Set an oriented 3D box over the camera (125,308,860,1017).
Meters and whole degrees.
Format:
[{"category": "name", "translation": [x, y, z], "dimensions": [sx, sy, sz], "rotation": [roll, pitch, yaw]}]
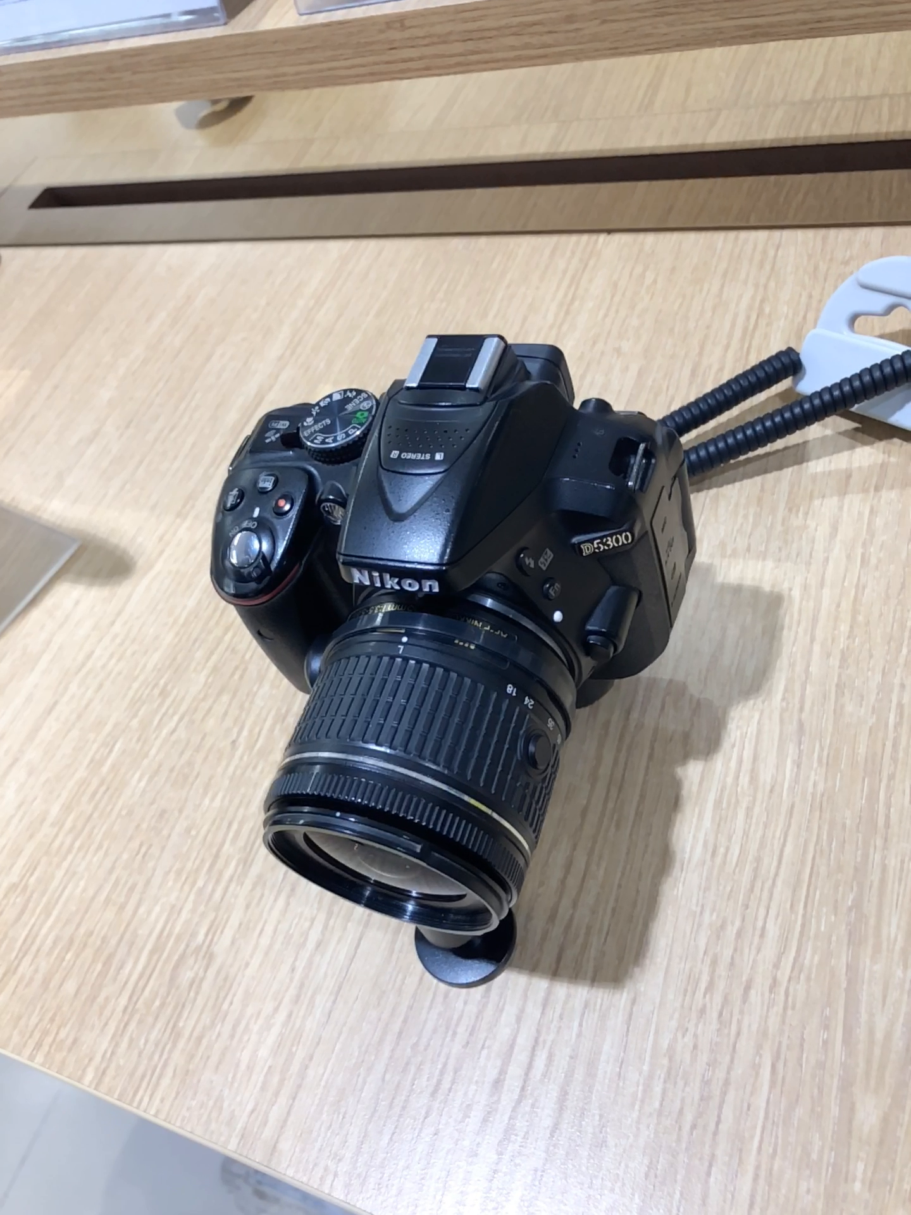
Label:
[{"category": "camera", "translation": [0.023, 0.010, 0.236], "dimensions": [0.120, 0.102, 0.110], "rotation": [6, 56, 24]}]
